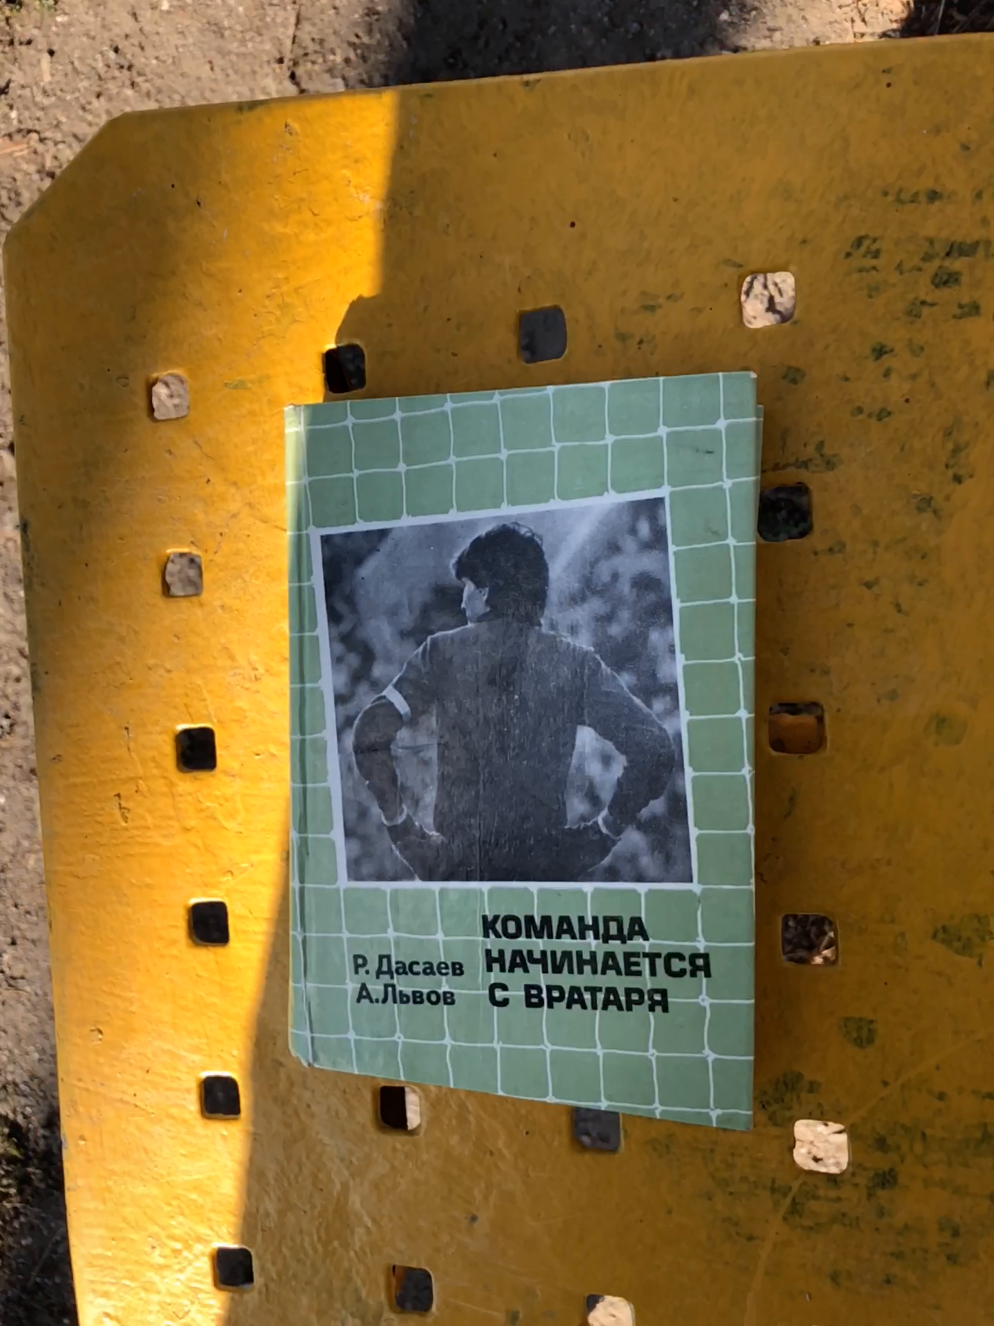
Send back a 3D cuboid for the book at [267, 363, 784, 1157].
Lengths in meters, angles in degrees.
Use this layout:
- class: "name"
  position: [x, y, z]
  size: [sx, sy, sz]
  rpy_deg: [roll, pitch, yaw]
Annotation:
- class: "book"
  position: [0.005, 0.020, 0.262]
  size: [0.117, 0.030, 0.164]
  rpy_deg: [1, 93, 20]
